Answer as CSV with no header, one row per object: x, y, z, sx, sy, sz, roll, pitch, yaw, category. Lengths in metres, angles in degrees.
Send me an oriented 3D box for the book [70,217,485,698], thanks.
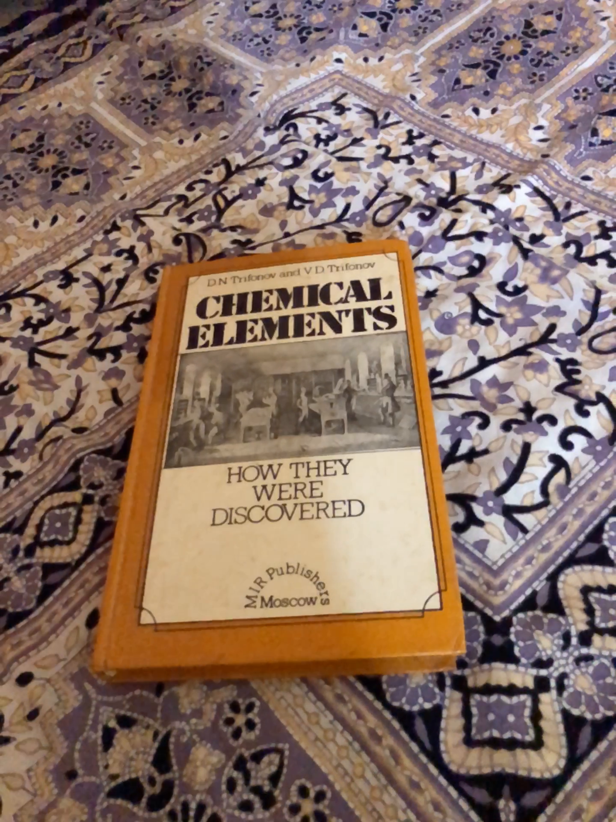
-0.012,0.004,0.304,0.140,0.030,0.221,-5,54,6,book
